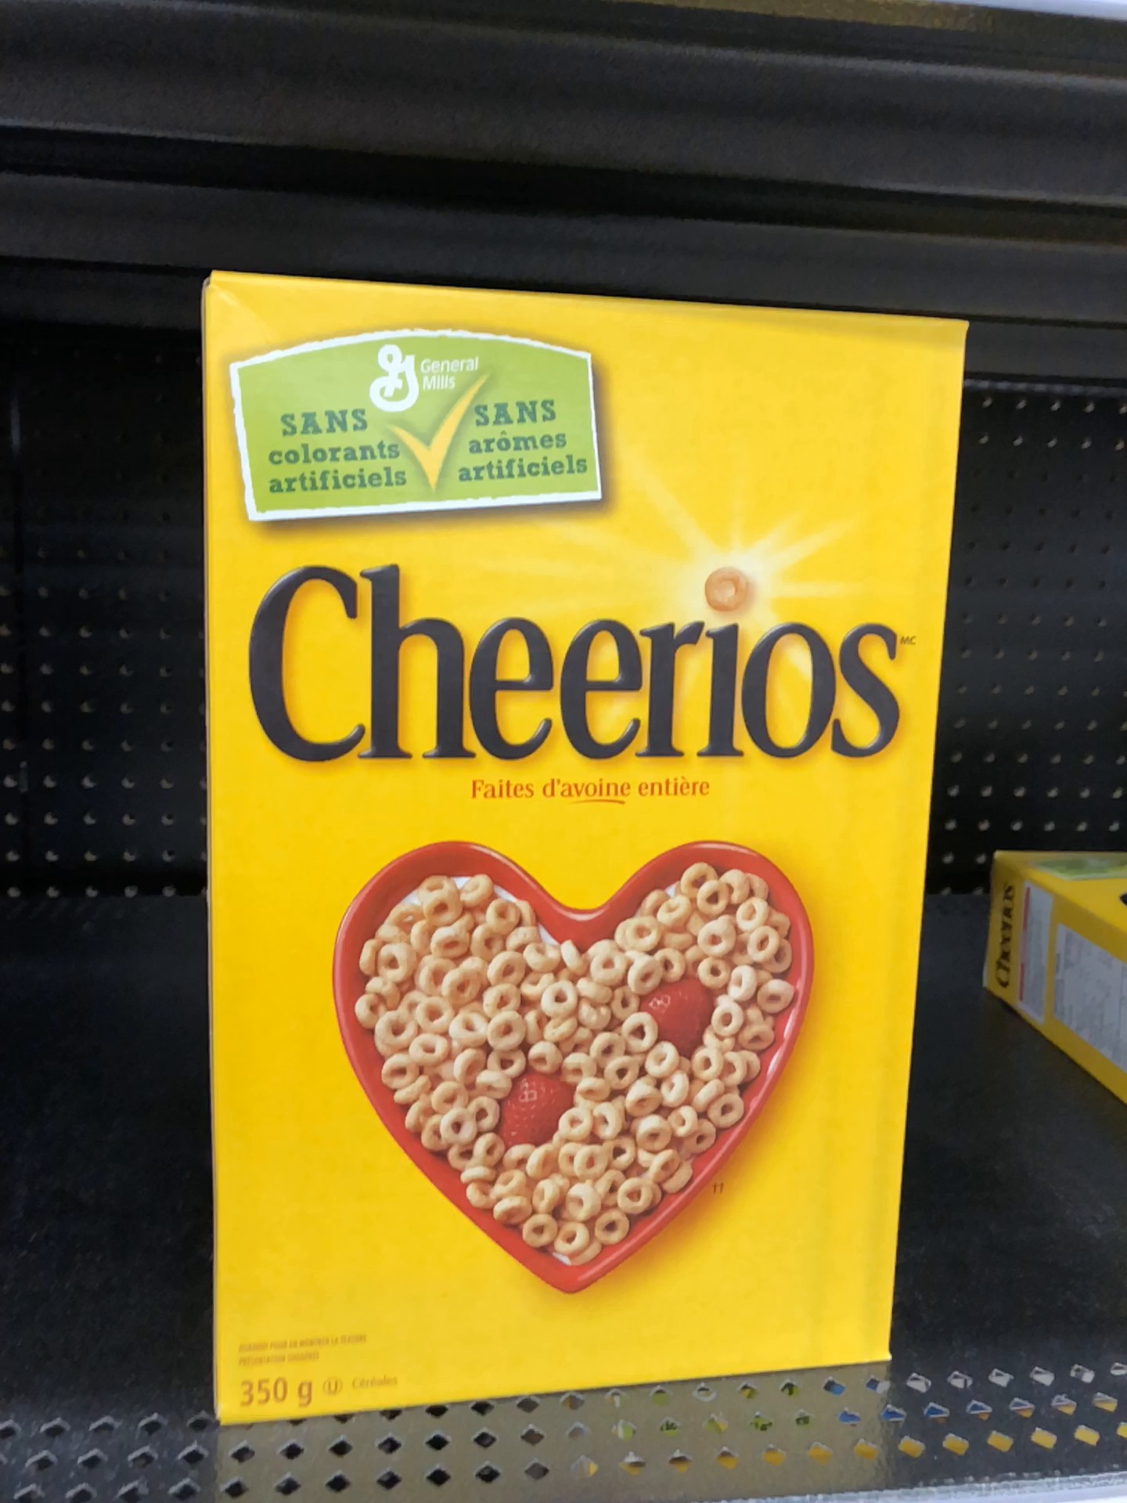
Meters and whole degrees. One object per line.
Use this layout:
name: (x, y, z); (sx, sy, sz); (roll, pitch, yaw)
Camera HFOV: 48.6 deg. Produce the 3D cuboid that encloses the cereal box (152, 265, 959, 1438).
cereal box: (-0.008, 0.030, 0.381); (0.210, 0.309, 0.080); (0, 9, -11)
